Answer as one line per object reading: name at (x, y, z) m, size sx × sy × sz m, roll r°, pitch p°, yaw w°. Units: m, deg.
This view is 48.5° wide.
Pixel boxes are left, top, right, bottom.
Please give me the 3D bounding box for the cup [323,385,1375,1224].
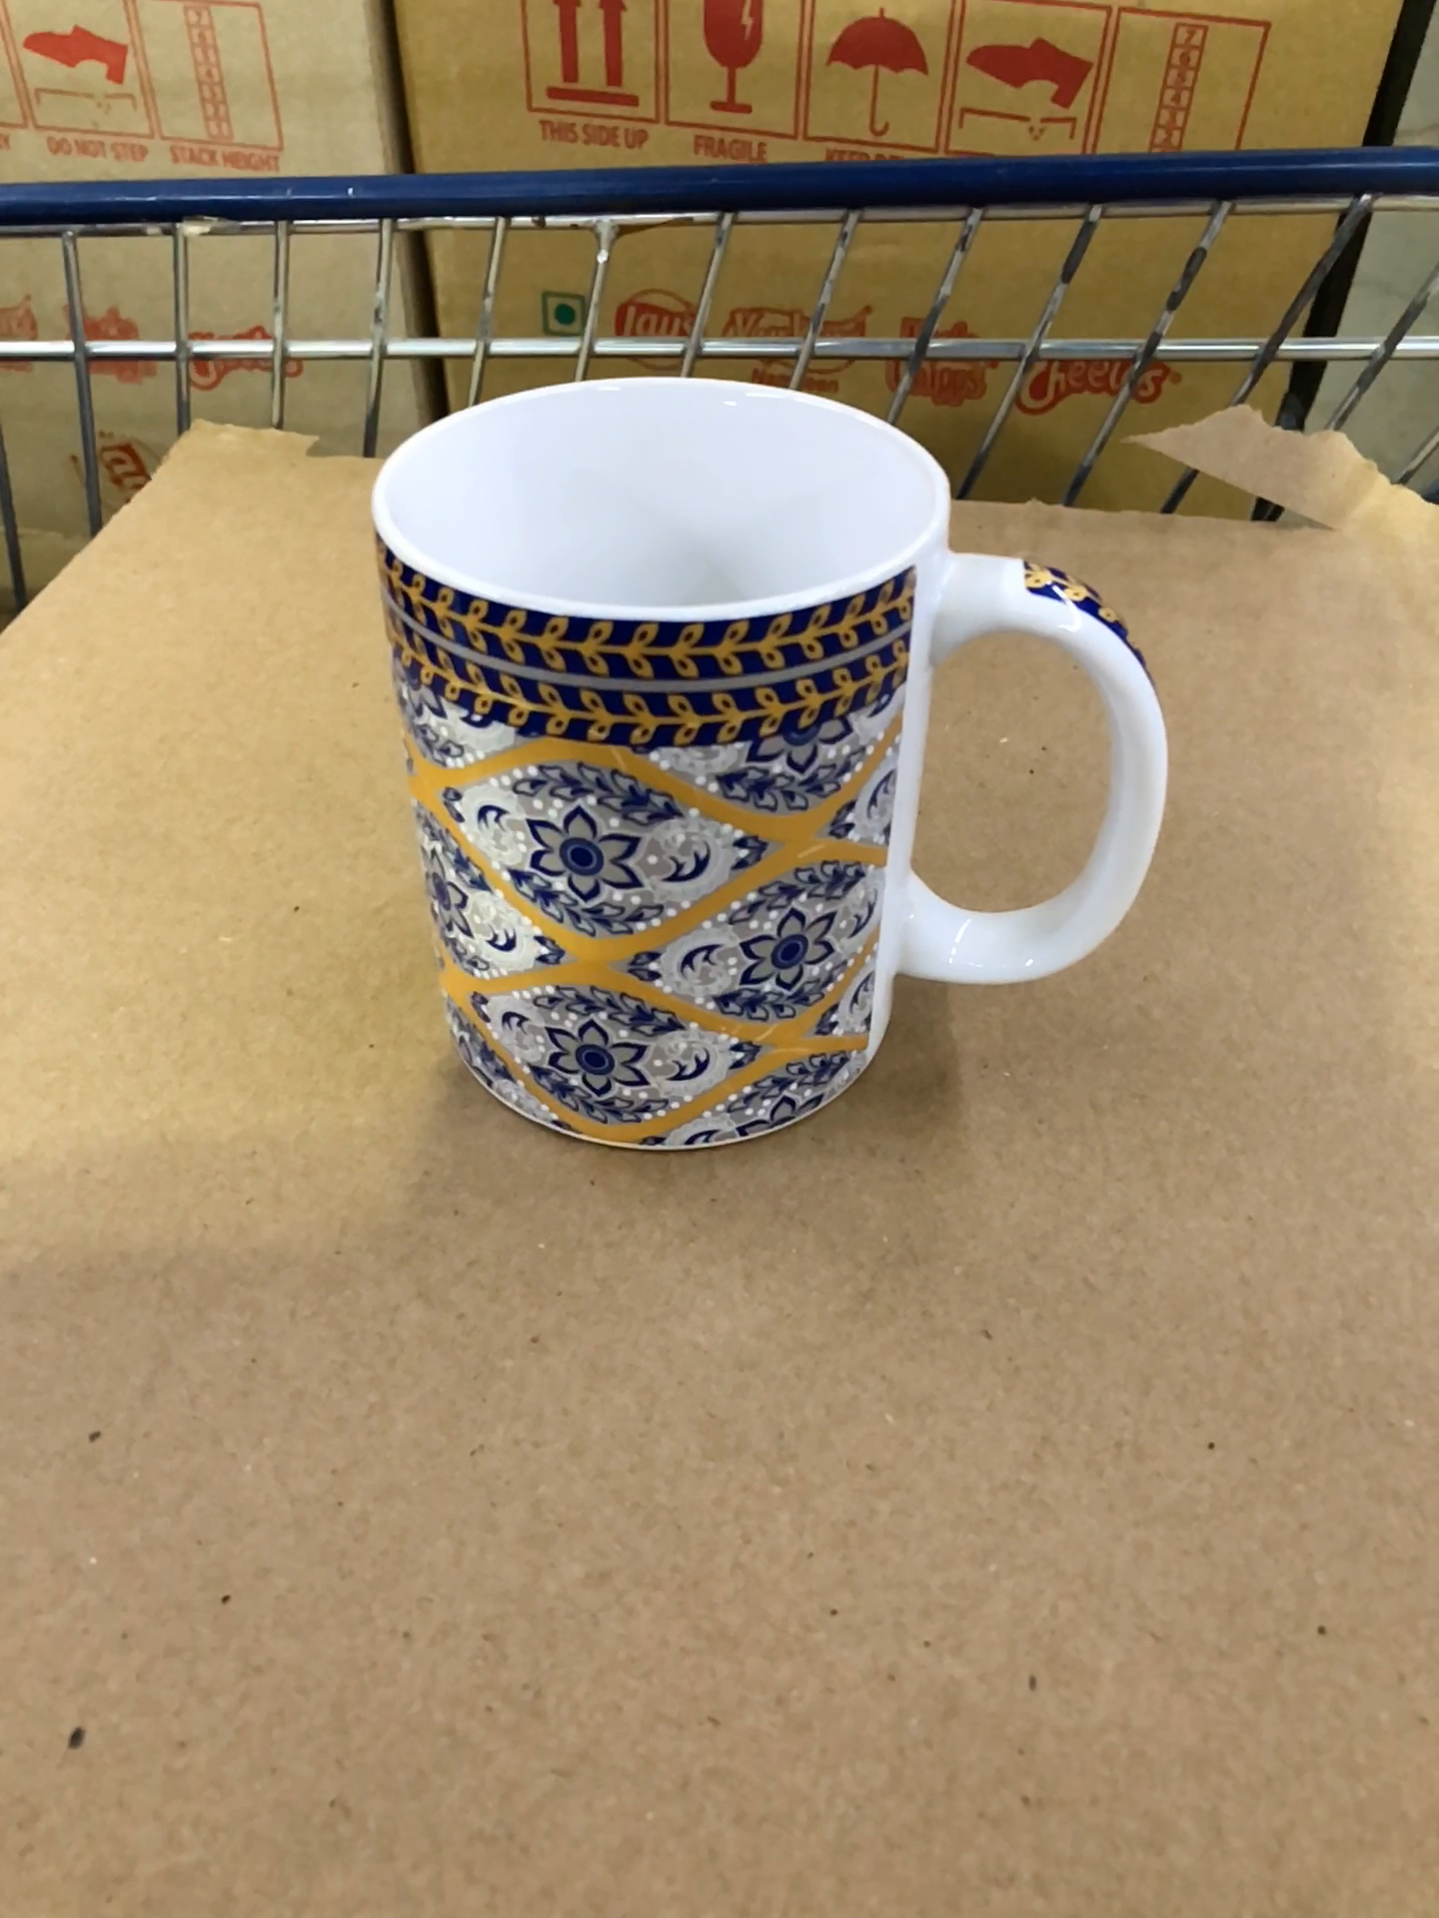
cup at (0.014, -0.025, 0.243) m, size 0.120 × 0.099 × 0.080 m, roll 0°, pitch 35°, yaw -1°
